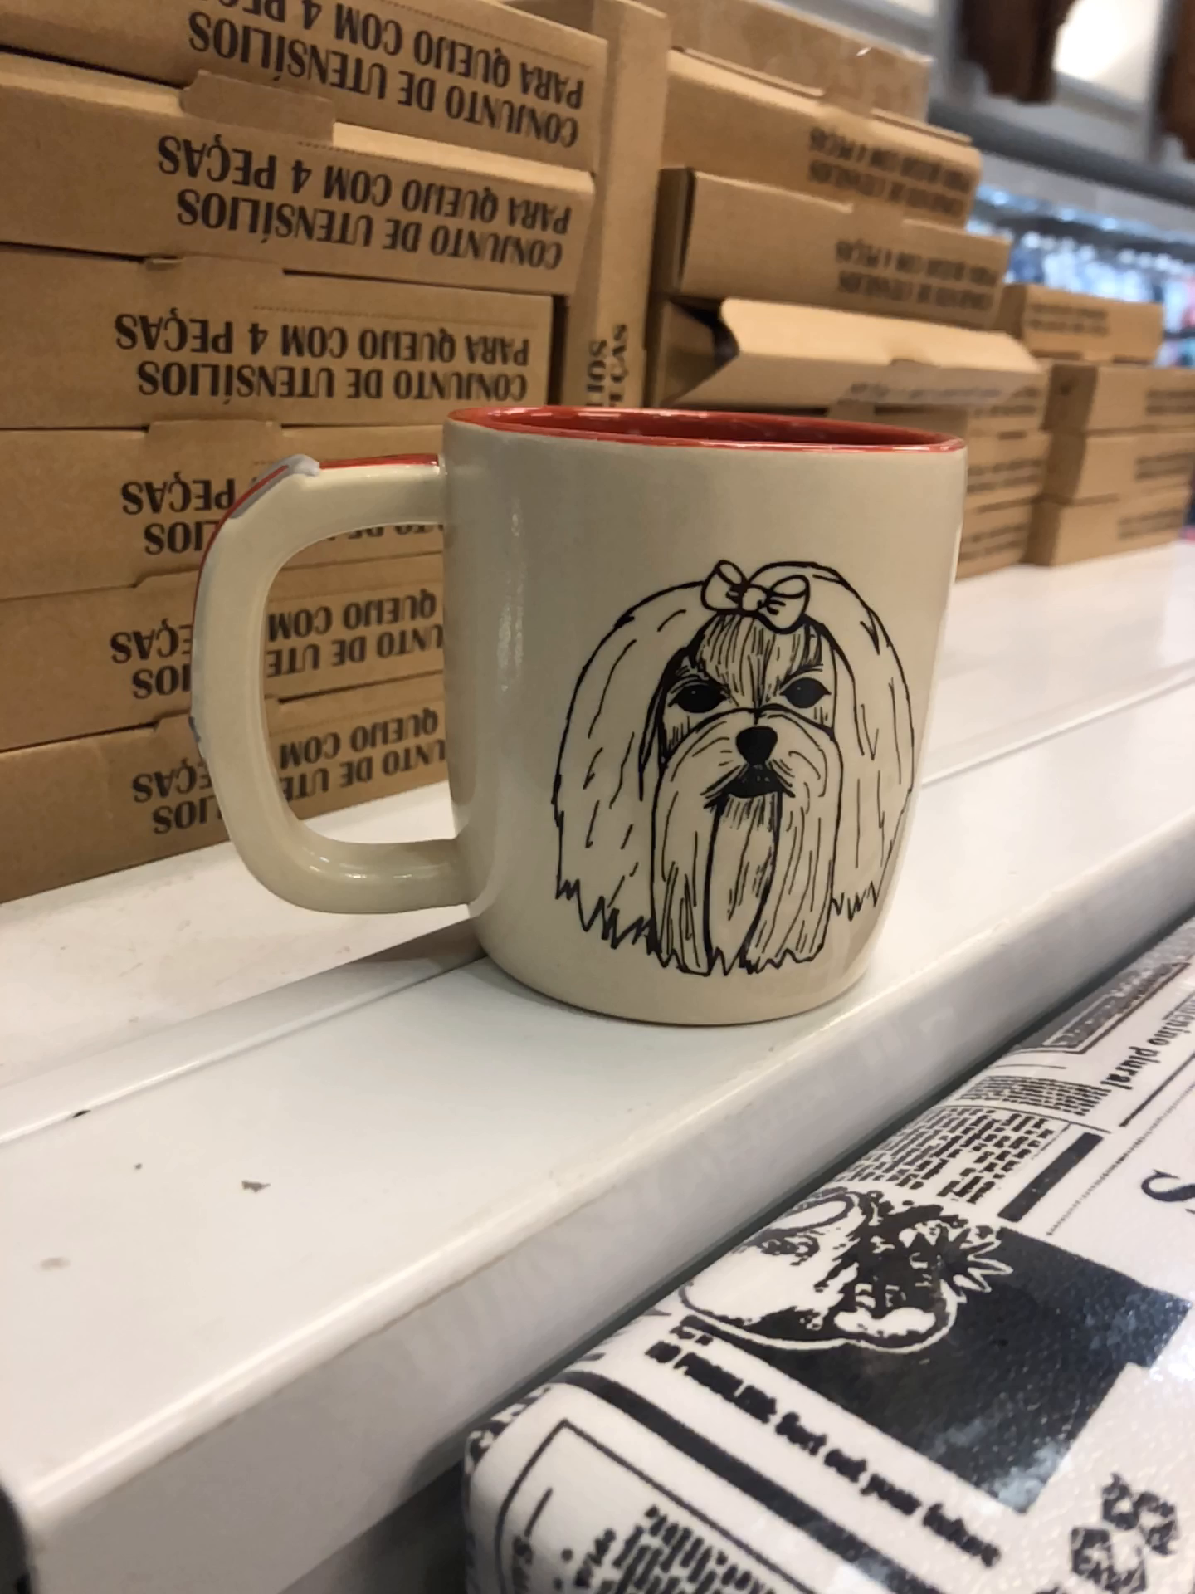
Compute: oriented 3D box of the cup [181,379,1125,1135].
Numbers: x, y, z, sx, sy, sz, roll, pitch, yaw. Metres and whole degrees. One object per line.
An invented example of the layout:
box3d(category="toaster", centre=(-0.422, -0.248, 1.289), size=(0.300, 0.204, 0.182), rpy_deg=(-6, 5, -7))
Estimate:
box3d(category="cup", centre=(0.001, -0.018, 0.222), size=(0.120, 0.089, 0.090), rpy_deg=(-5, 20, -23))
